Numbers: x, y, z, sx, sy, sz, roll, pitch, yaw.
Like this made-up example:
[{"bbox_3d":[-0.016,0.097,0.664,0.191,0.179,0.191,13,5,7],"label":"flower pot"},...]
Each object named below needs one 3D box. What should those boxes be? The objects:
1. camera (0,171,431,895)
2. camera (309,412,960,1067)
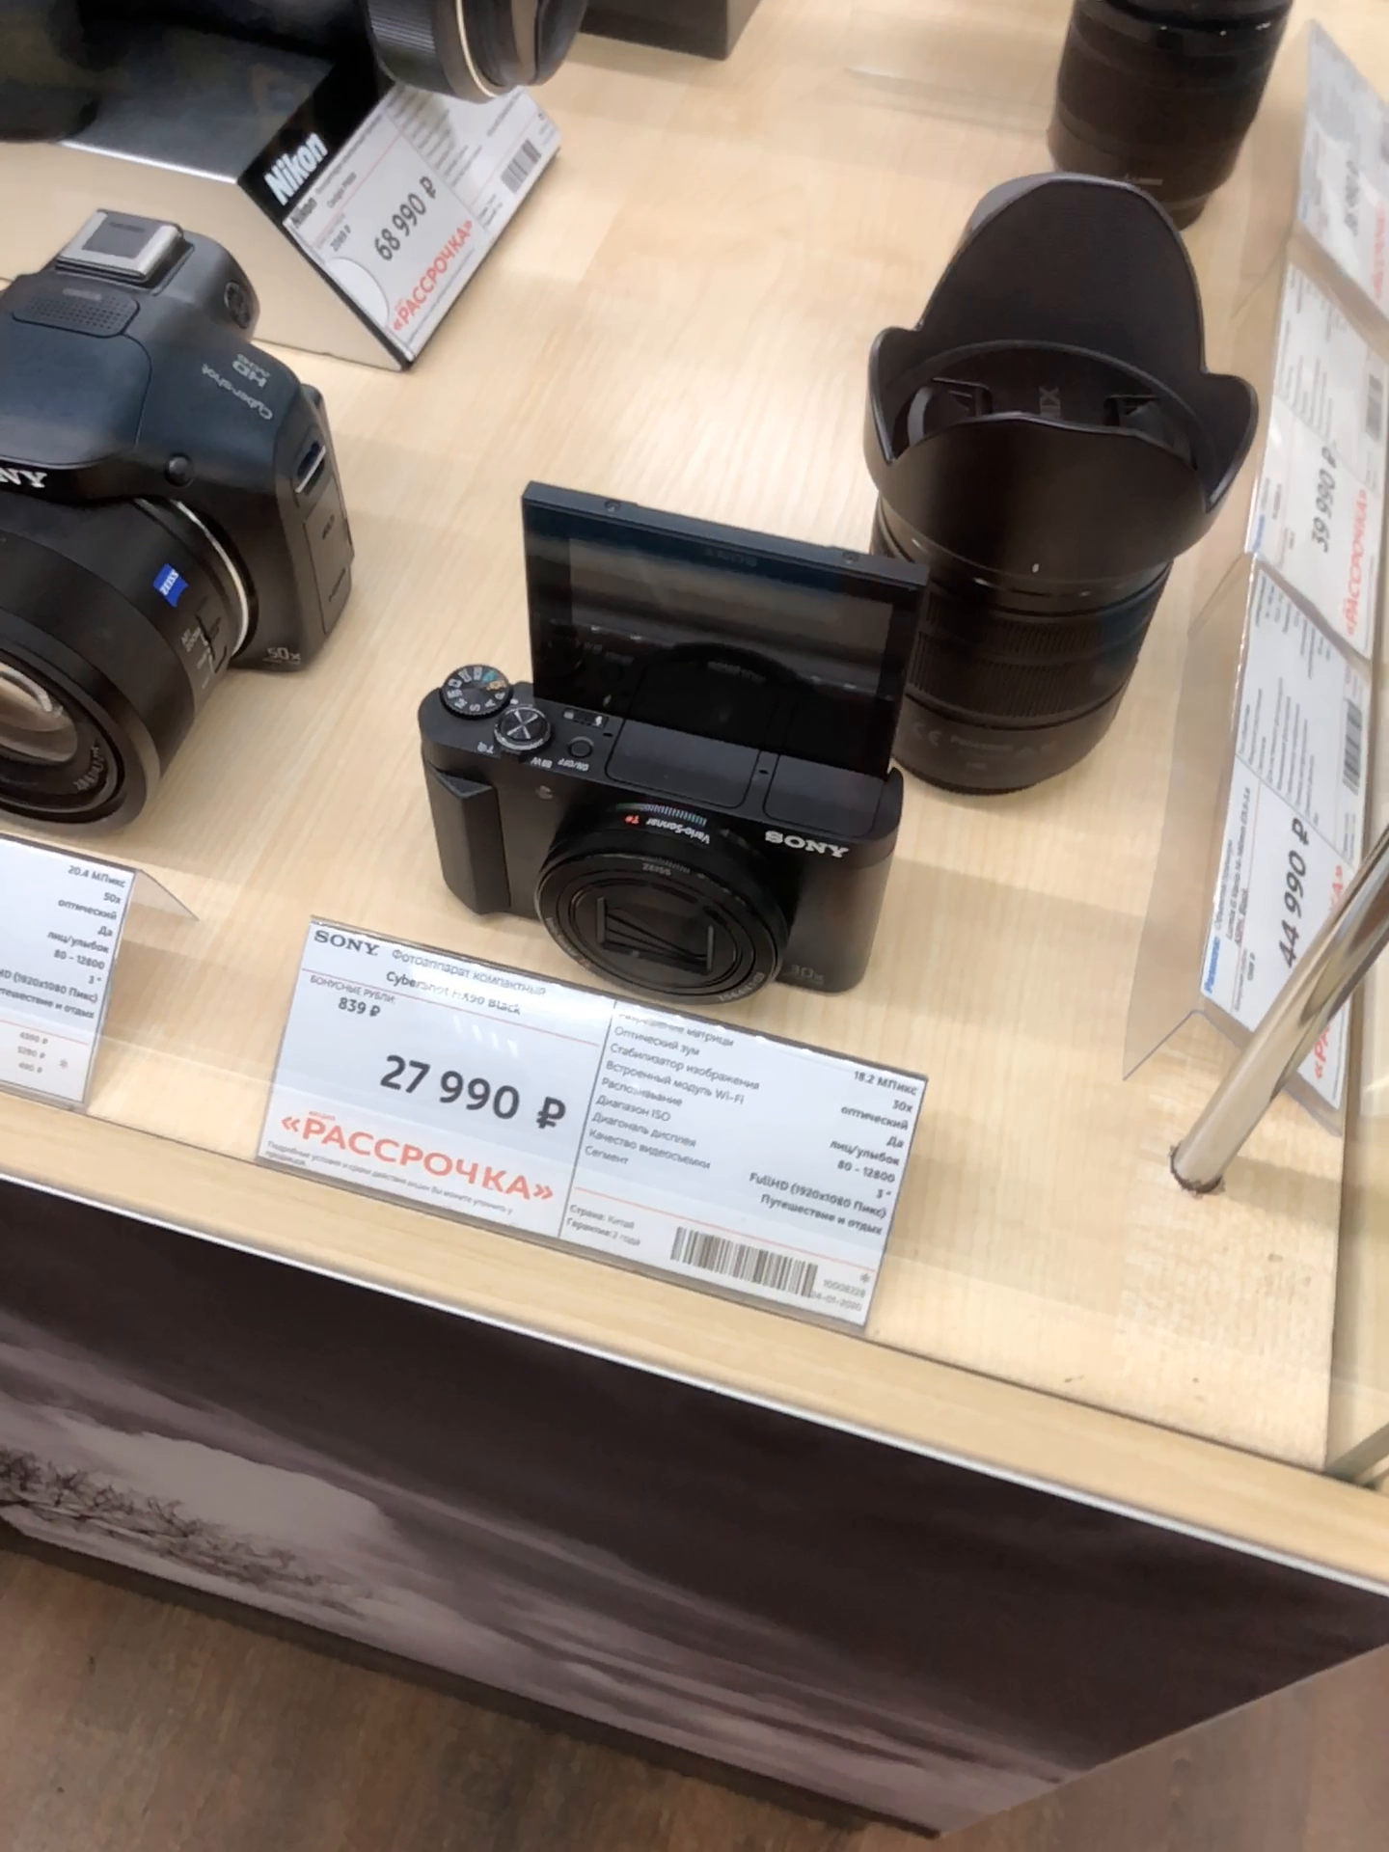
[{"bbox_3d":[-0.156,-0.099,0.375,0.132,0.078,0.136,14,56,8],"label":"camera"},{"bbox_3d":[-0.010,-0.032,0.305,0.100,0.107,0.050,14,57,8],"label":"camera"}]
